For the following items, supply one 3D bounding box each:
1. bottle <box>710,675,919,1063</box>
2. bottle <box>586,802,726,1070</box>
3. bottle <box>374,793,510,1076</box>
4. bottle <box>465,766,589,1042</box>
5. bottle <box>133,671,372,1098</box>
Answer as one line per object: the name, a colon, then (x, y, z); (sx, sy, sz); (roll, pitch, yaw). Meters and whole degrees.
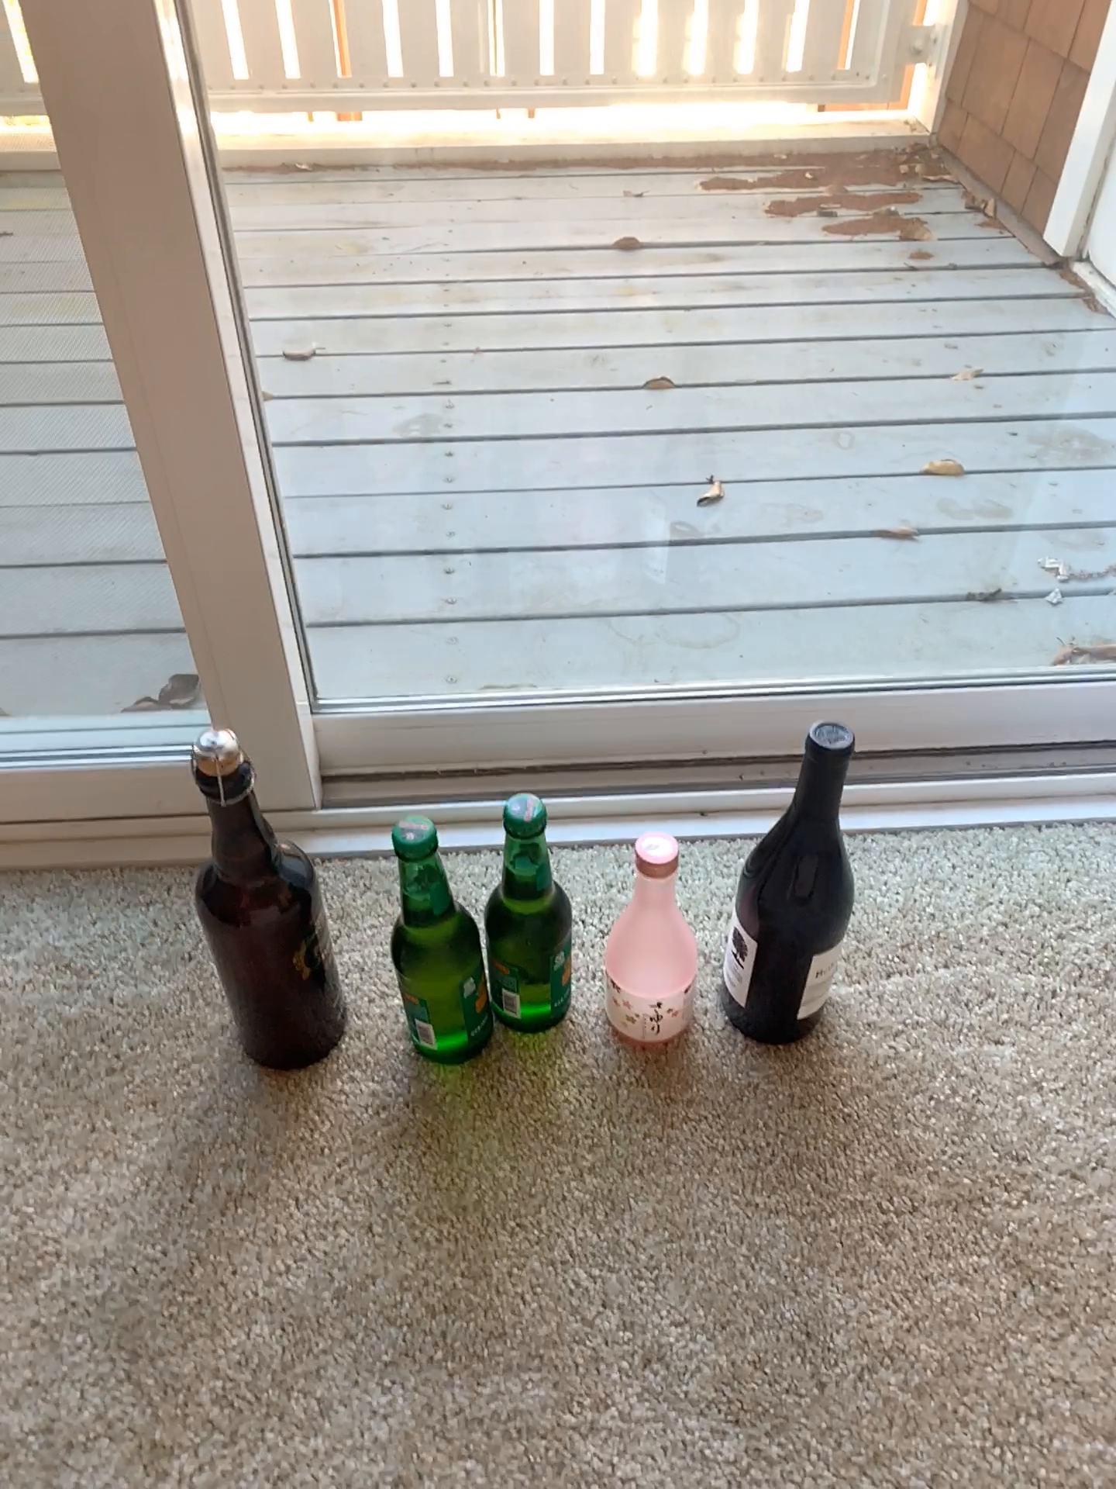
bottle: (0.168, 0.090, 0.773); (0.090, 0.249, 0.111); (11, 44, 11)
bottle: (0.064, 0.133, 0.775); (0.070, 0.169, 0.080); (11, 44, 11)
bottle: (-0.076, 0.132, 0.769); (0.070, 0.189, 0.080); (-7, 44, -8)
bottle: (-0.022, 0.114, 0.788); (0.070, 0.189, 0.080); (-5, 43, -6)
bottle: (-0.191, 0.100, 0.743); (0.090, 0.278, 0.101); (-13, 44, -14)
